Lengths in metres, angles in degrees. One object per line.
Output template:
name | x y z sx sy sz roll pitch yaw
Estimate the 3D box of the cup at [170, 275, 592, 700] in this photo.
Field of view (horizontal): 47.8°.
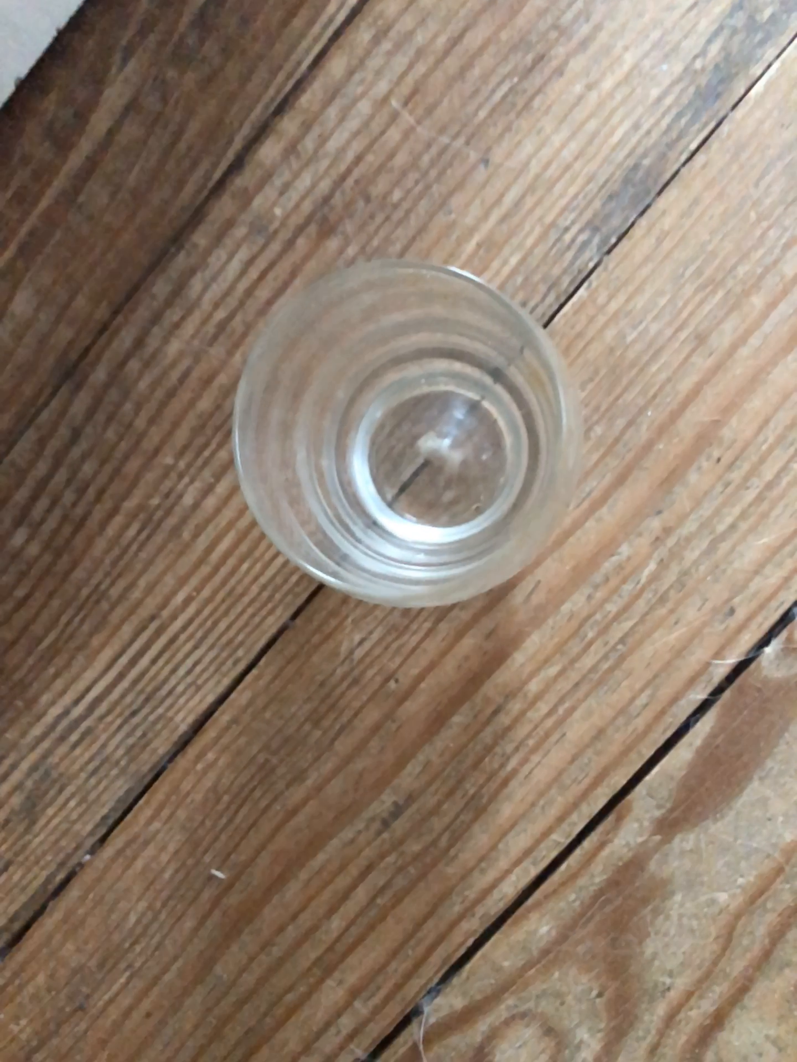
cup | 0.001 -0.006 0.143 0.050 0.060 0.050 0 90 8
